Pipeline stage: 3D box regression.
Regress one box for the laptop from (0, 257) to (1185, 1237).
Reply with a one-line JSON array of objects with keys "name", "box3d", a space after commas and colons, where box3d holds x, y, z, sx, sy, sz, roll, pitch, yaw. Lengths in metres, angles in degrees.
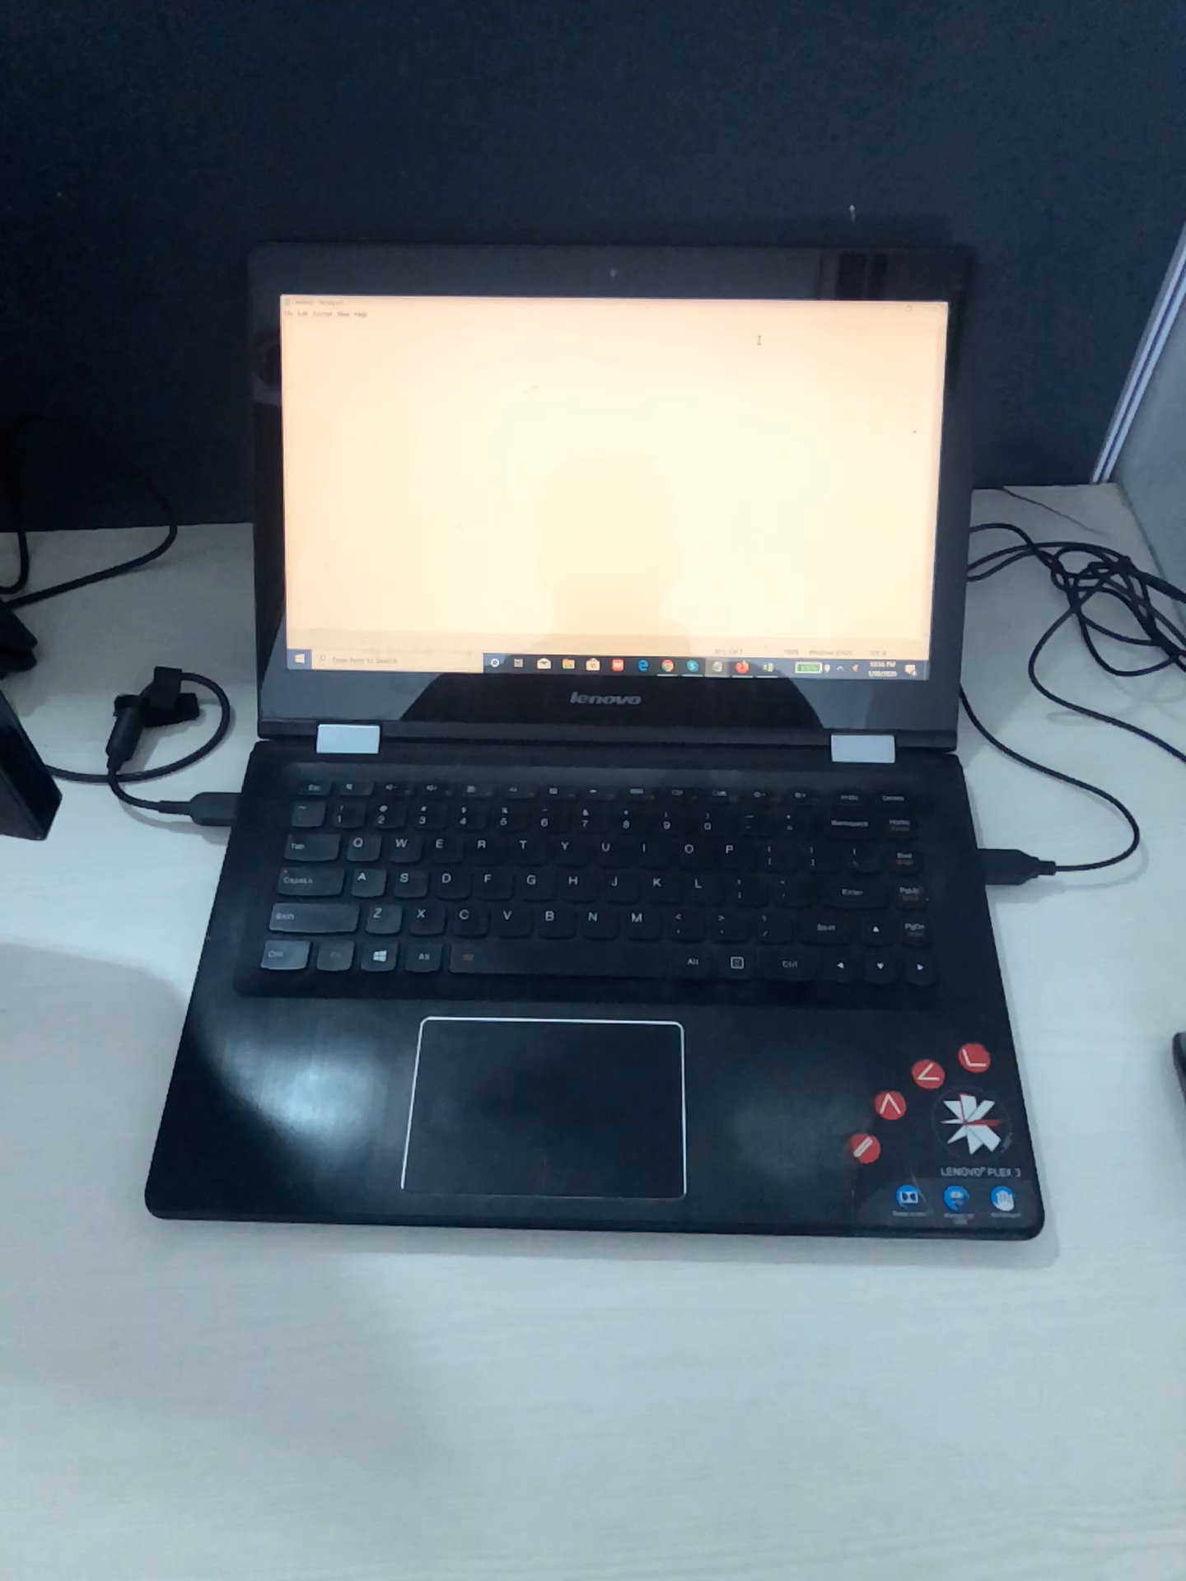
[{"name": "laptop", "box3d": [0.005, -0.042, 0.539, 0.334, 0.171, 0.387, 1, 50, 1]}]
